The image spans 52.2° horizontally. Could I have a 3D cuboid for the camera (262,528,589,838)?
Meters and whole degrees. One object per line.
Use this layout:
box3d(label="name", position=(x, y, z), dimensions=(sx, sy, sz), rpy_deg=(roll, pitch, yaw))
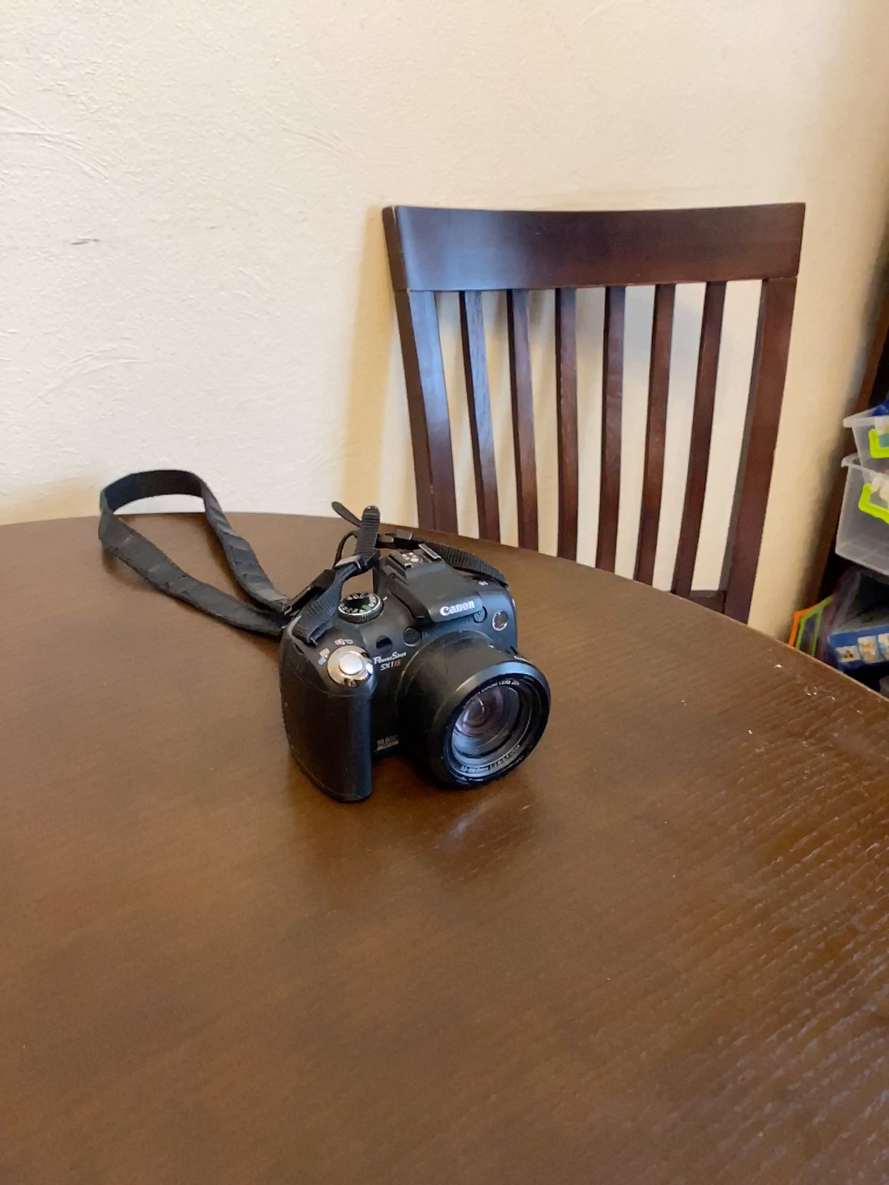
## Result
box3d(label="camera", position=(-0.011, 0.036, 0.429), dimensions=(0.123, 0.088, 0.082), rpy_deg=(-14, 32, -28))
